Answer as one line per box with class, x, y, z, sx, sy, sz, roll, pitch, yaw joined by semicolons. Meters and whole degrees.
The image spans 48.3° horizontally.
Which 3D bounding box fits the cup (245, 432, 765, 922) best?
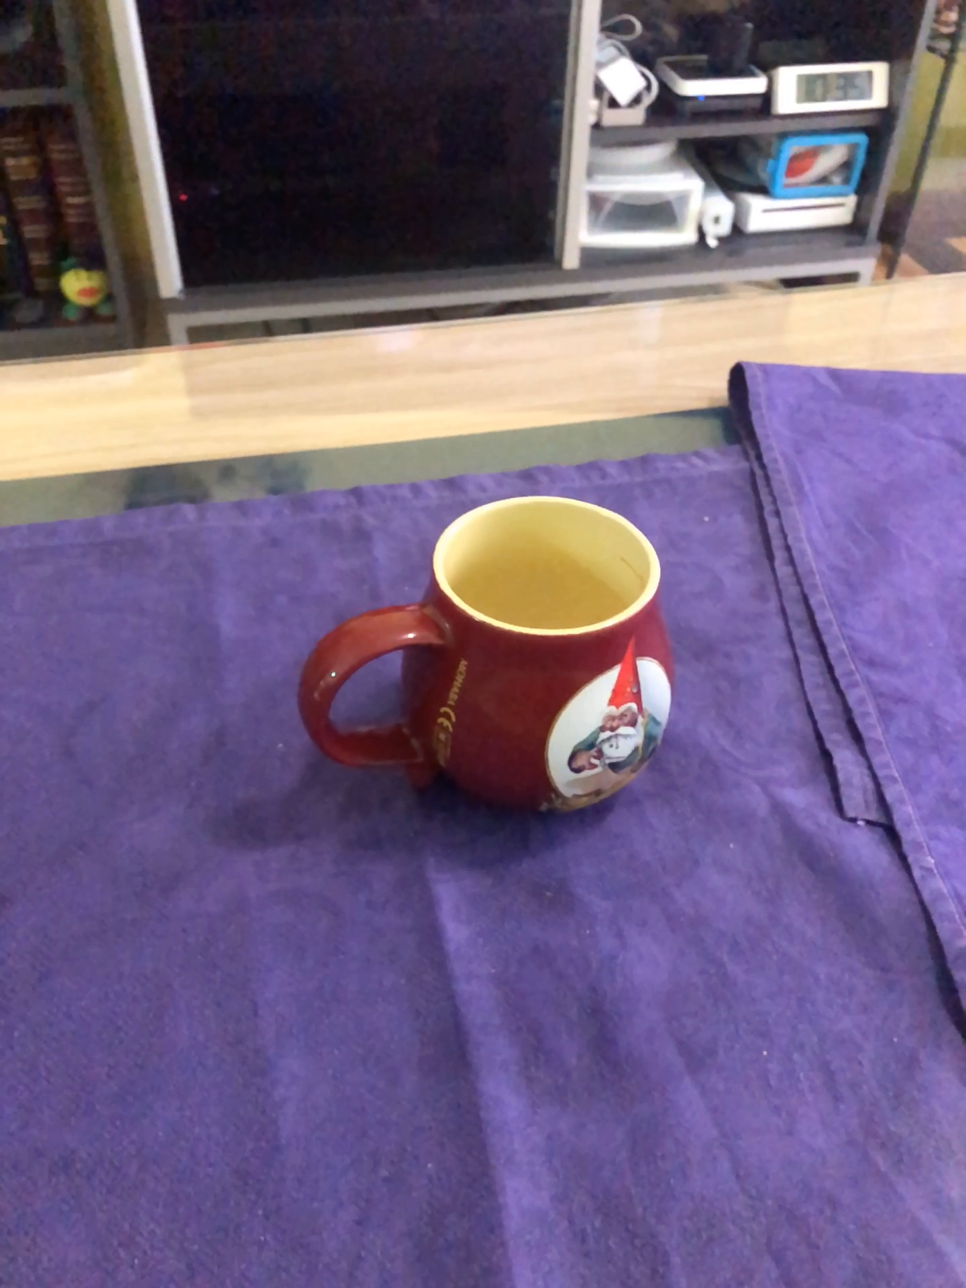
cup;0.003;0.006;0.325;0.120;0.090;0.080;-15;44;-17
